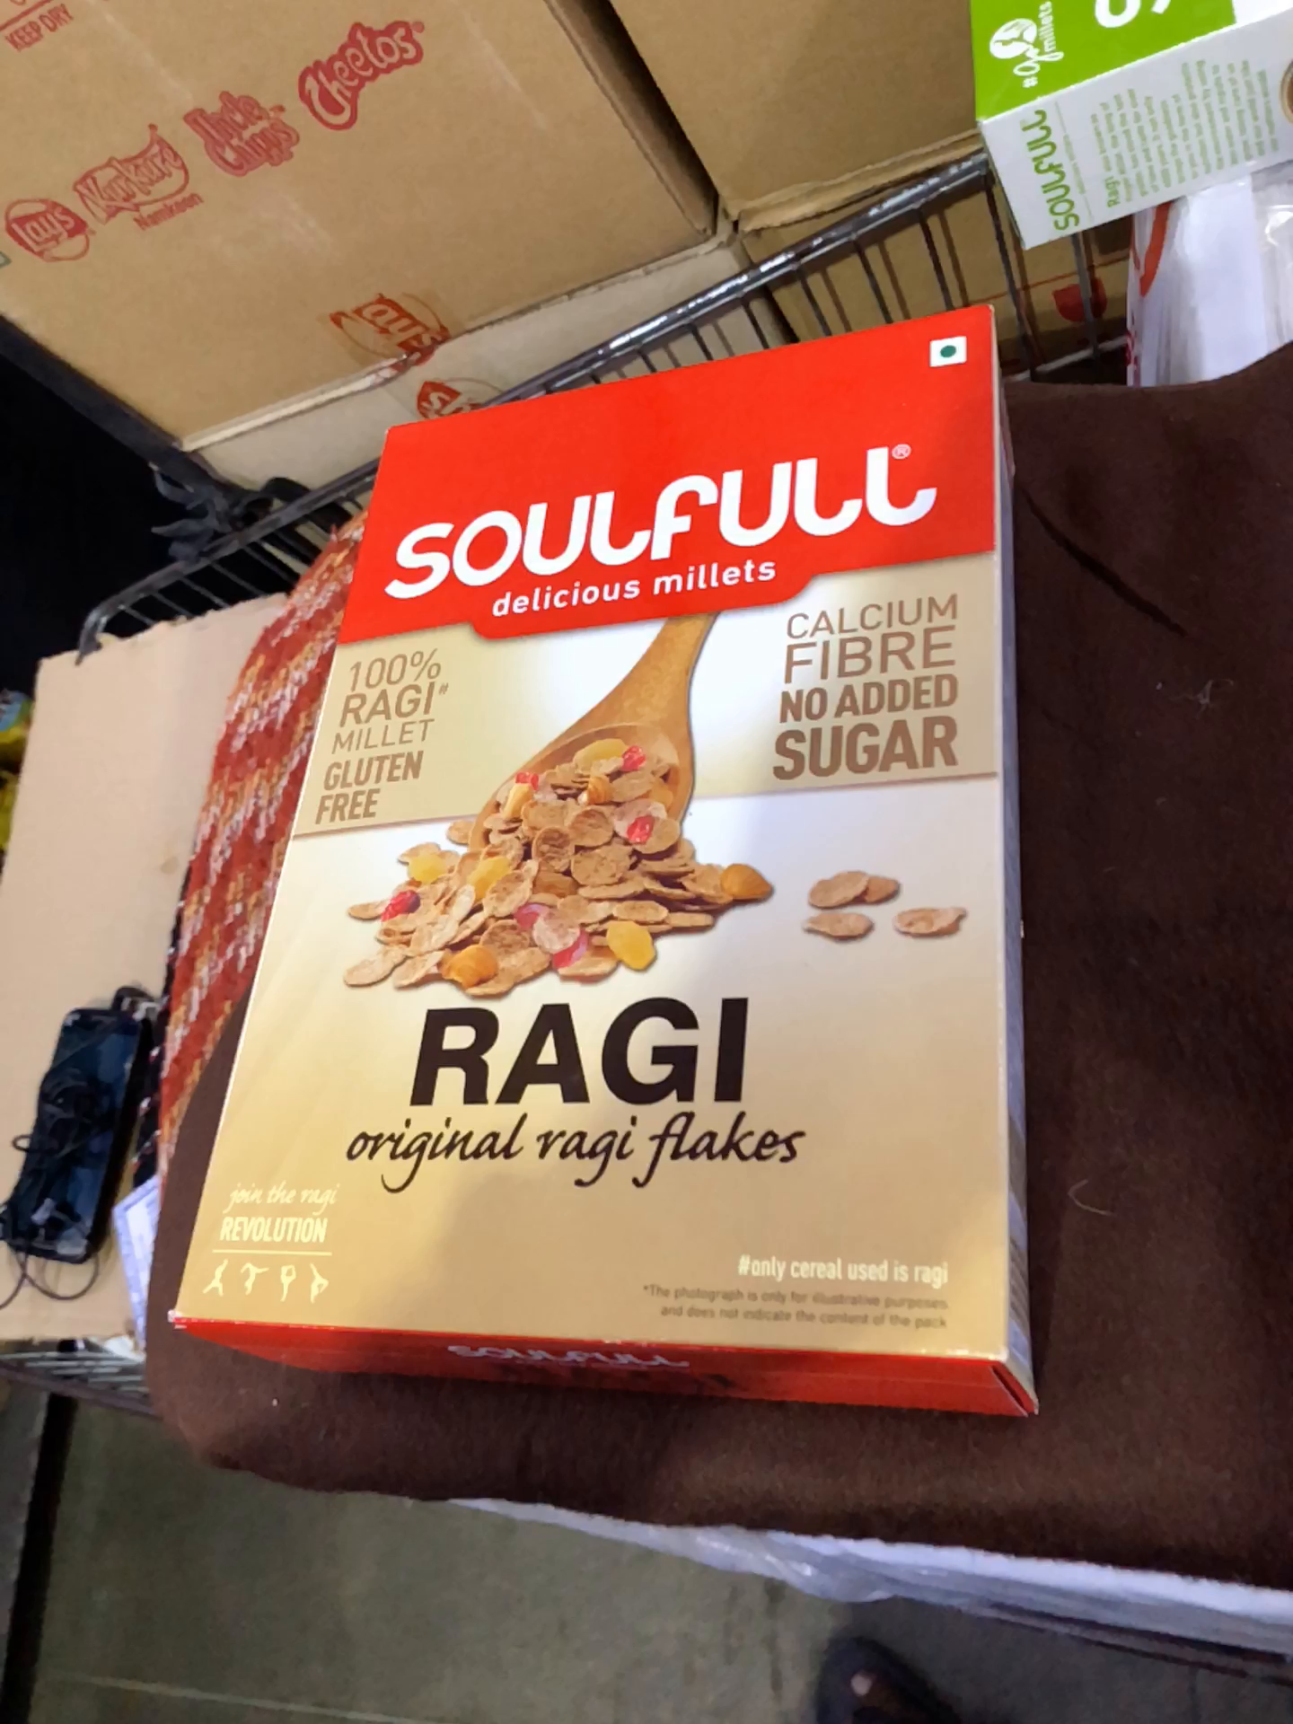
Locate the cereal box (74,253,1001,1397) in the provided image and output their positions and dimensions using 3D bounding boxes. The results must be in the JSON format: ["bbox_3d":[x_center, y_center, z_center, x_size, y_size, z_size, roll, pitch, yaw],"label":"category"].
[{"bbox_3d":[-0.013,-0.014,0.323,0.170,0.050,0.241,-4,62,20],"label":"cereal box"}]
